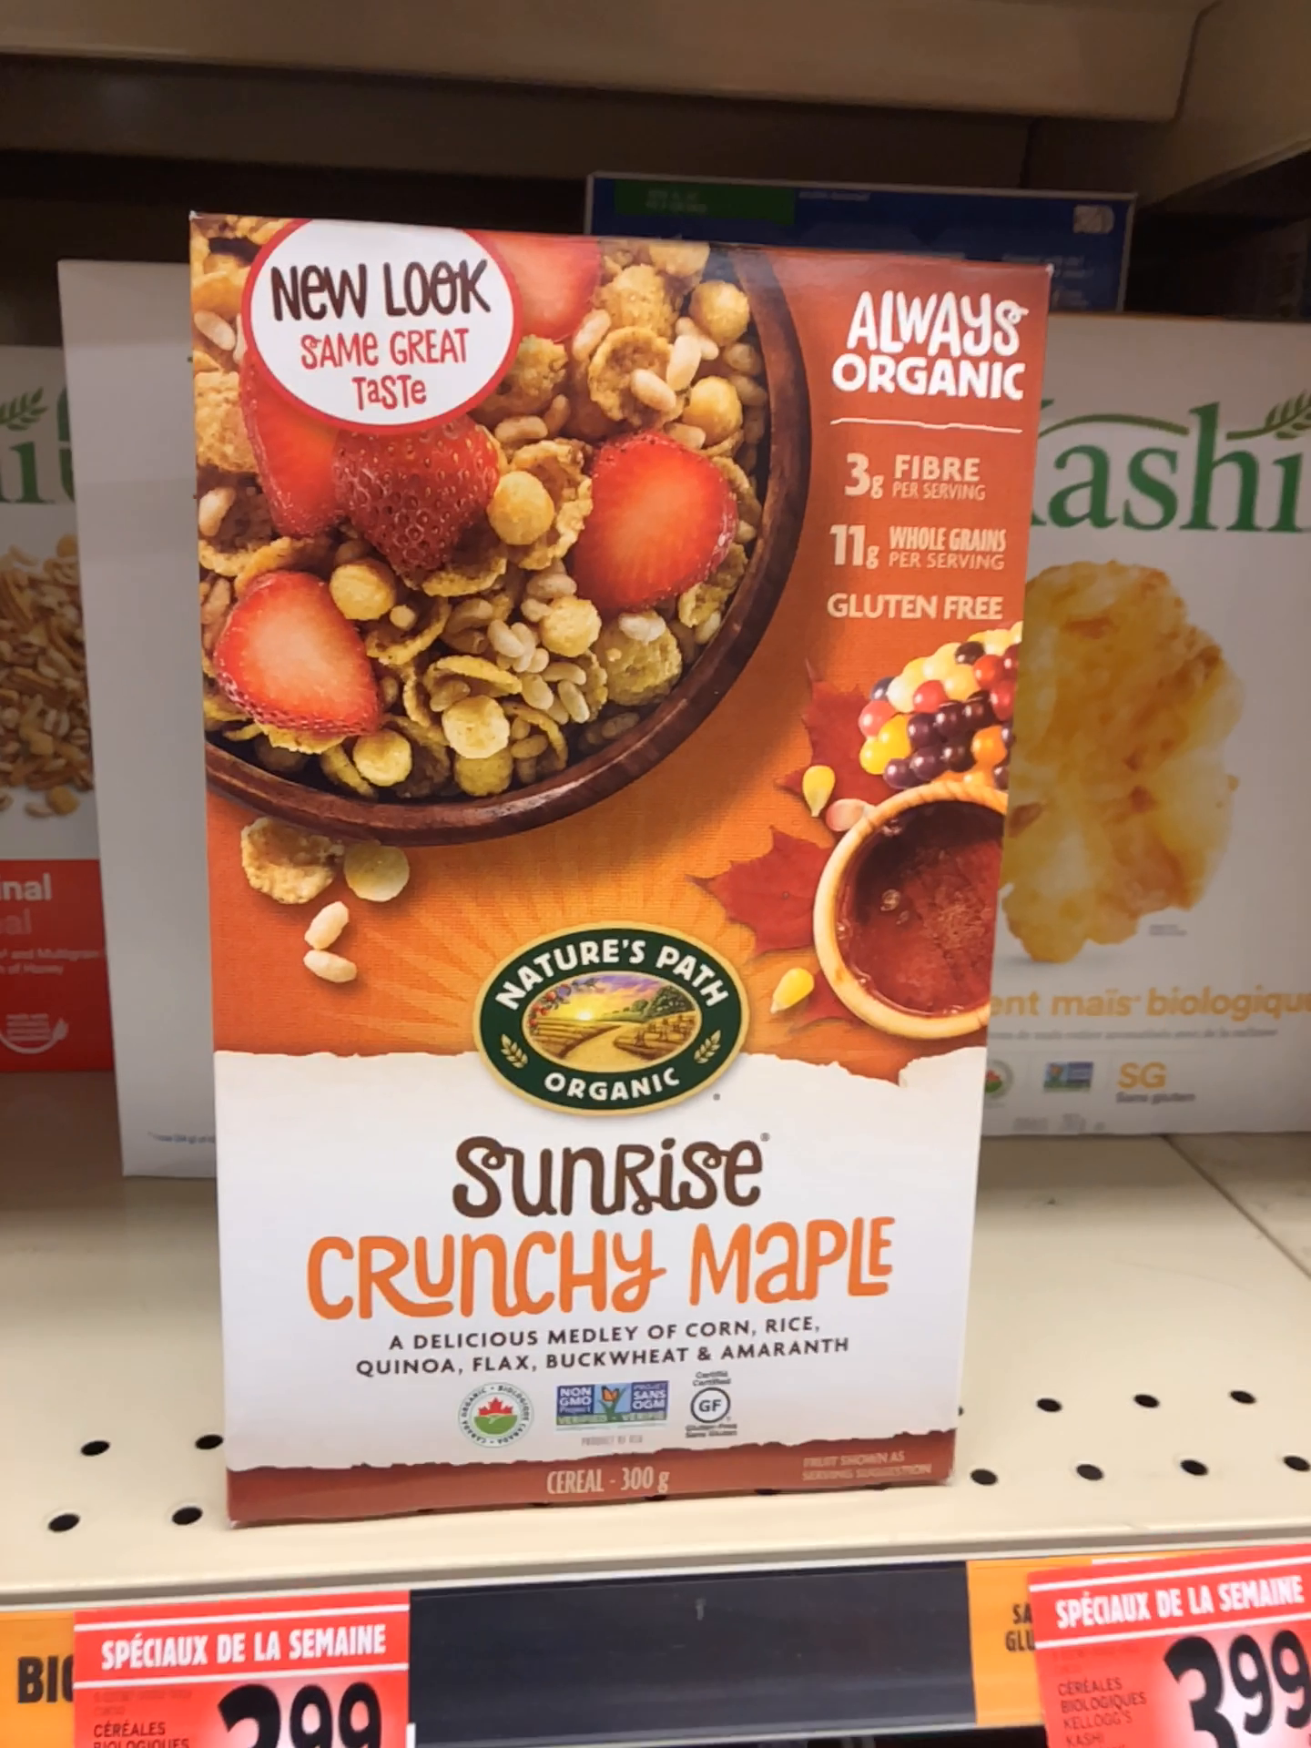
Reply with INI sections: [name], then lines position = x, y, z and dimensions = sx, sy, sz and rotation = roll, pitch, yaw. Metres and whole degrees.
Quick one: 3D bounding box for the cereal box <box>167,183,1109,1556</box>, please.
[cereal box]
position = -0.007, 0.005, 0.318
dimensions = 0.170, 0.269, 0.060
rotation = 0, 12, -7
